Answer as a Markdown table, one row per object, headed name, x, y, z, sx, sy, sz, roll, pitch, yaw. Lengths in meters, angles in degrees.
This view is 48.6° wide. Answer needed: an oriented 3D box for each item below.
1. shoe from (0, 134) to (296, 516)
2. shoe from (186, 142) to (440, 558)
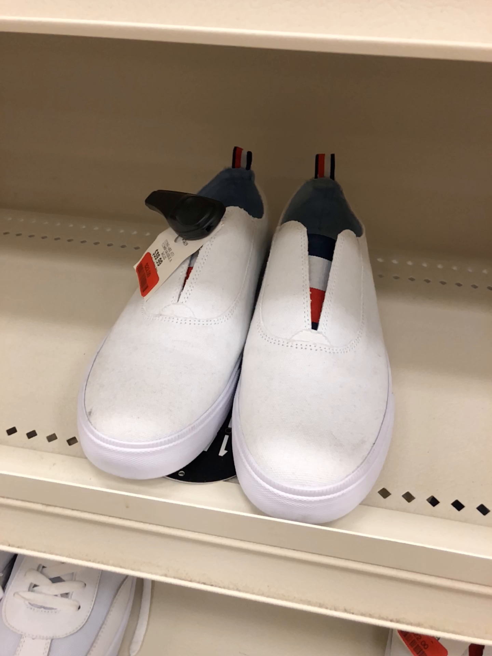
| name | x | y | z | sx | sy | sz | roll | pitch | yaw |
| --- | --- | --- | --- | --- | --- | --- | --- | --- | --- |
| shoe | -0.038 | -0.037 | 0.356 | 0.100 | 0.089 | 0.292 | 8 | 36 | 9 |
| shoe | 0.053 | -0.023 | 0.367 | 0.100 | 0.109 | 0.303 | 8 | 35 | 9 |
